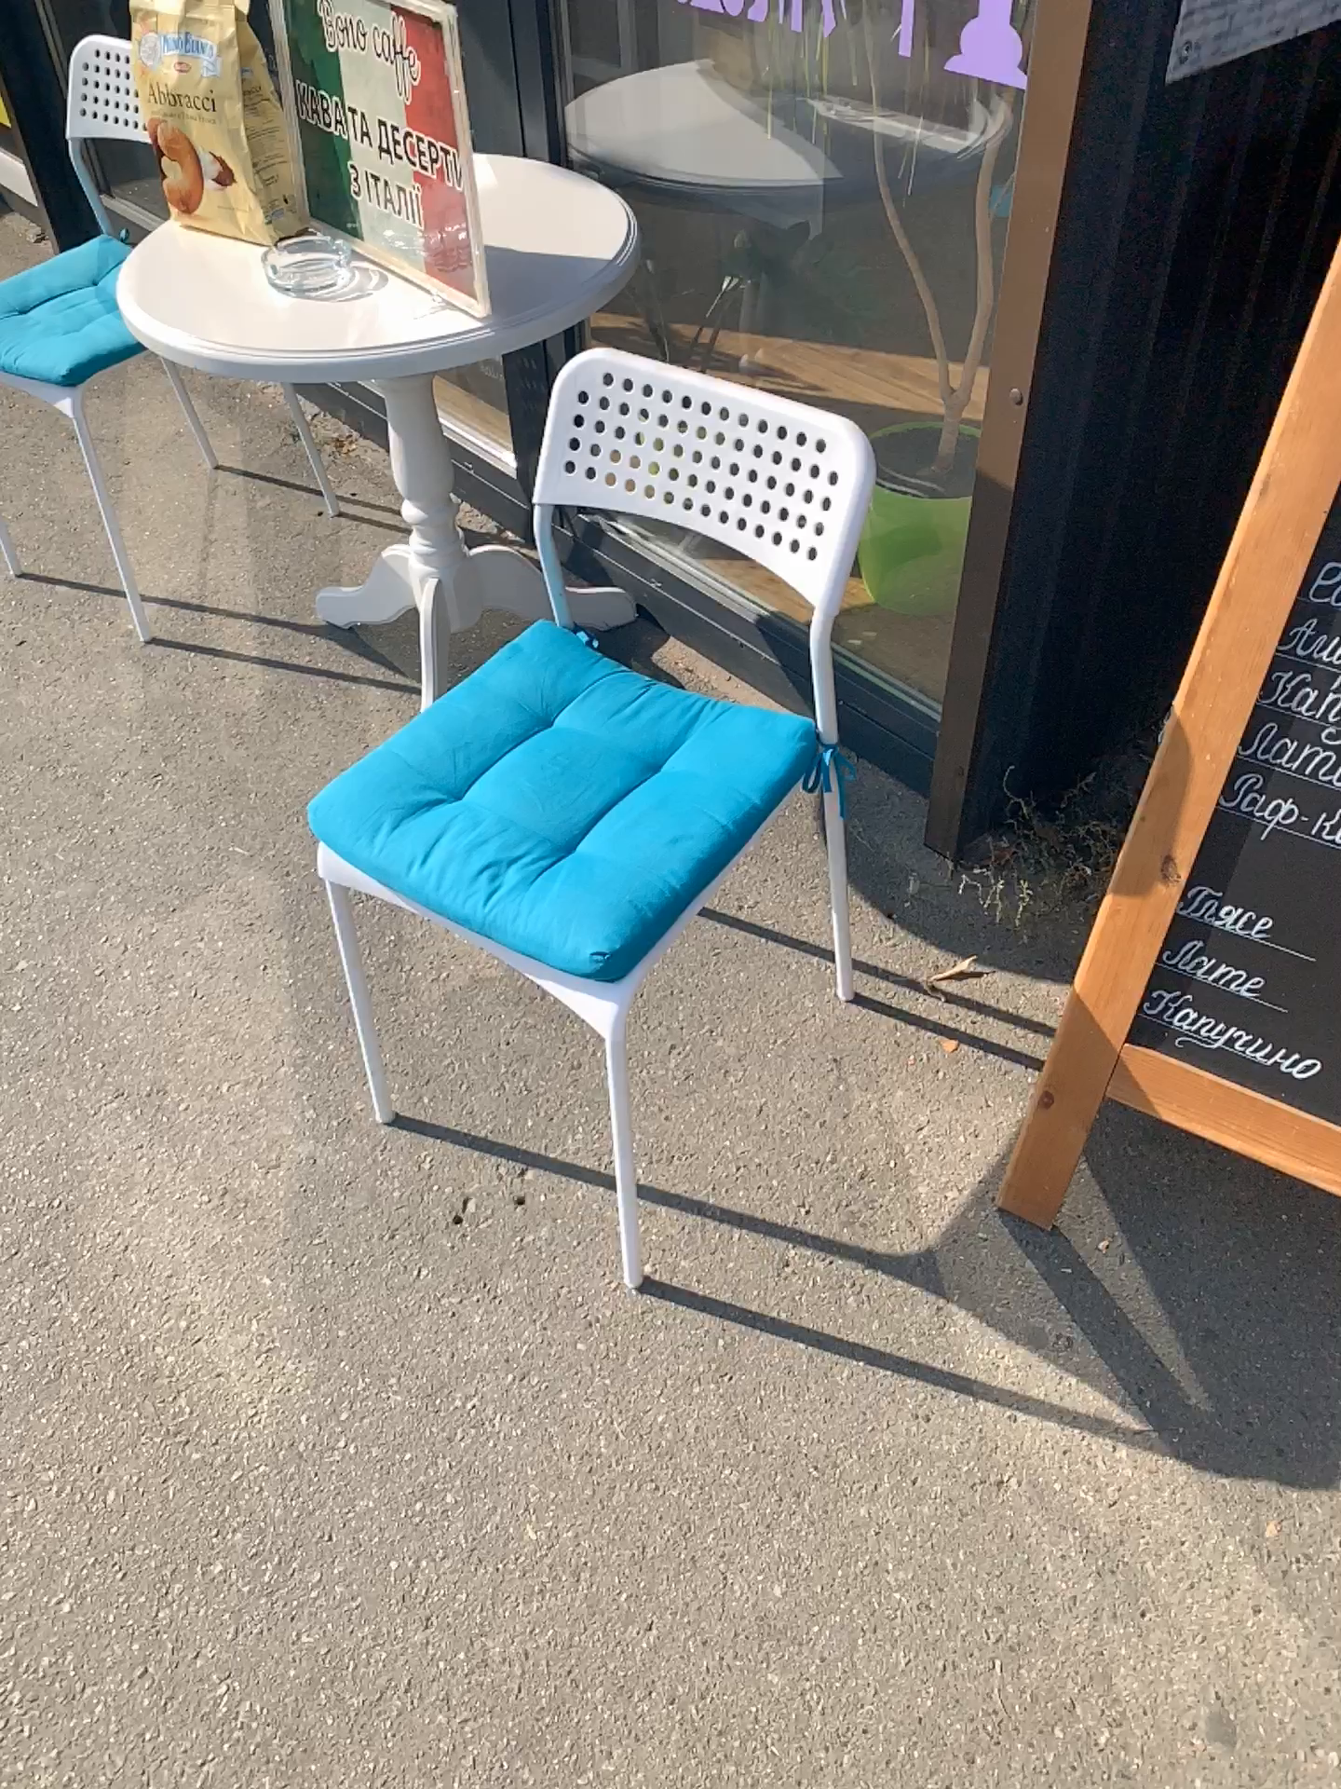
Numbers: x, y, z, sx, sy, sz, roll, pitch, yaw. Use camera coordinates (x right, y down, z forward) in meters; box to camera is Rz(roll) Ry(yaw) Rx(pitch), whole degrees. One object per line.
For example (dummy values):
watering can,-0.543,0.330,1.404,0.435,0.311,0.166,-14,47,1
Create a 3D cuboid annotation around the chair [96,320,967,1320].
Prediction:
chair,-0.088,-0.078,1.367,0.481,0.697,0.541,26,52,25
